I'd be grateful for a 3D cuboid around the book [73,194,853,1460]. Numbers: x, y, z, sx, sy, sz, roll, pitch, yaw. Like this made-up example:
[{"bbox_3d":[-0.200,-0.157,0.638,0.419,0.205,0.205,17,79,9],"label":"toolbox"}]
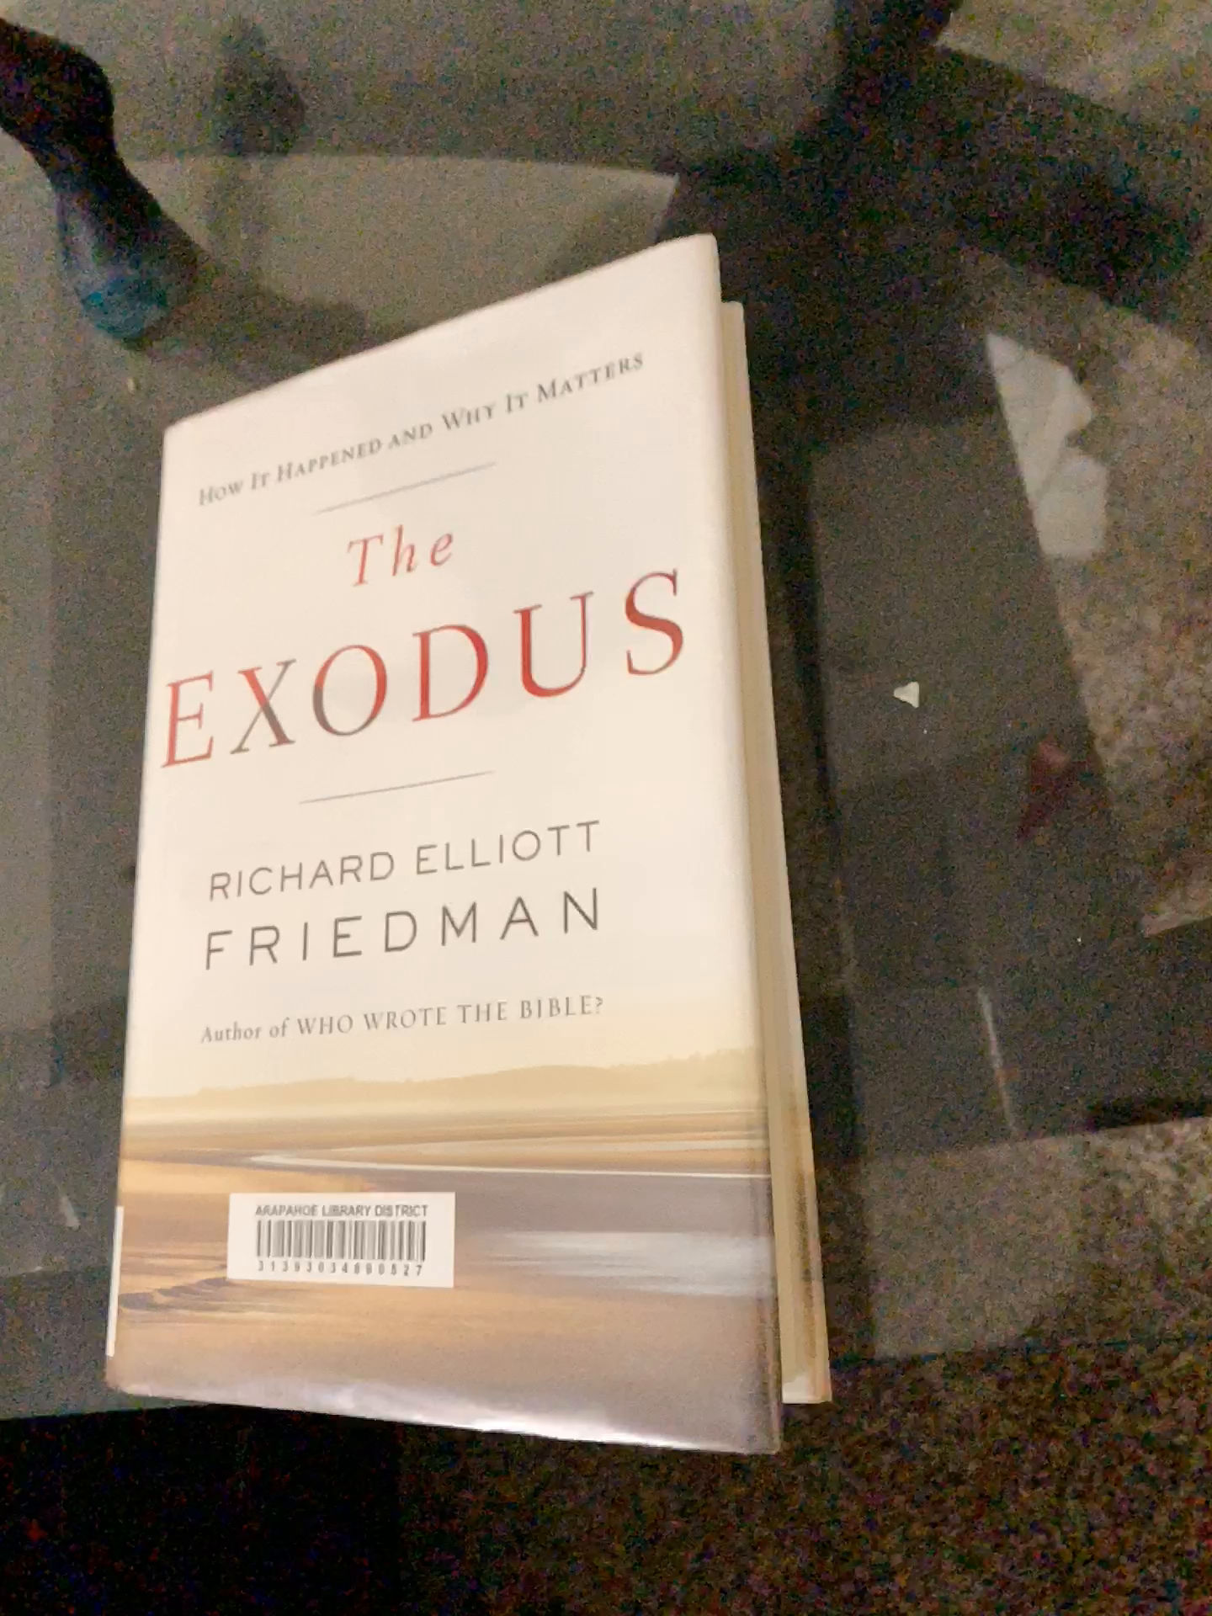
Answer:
[{"bbox_3d":[-0.038,0.003,0.272,0.161,0.030,0.231,-7,77,24],"label":"book"}]
